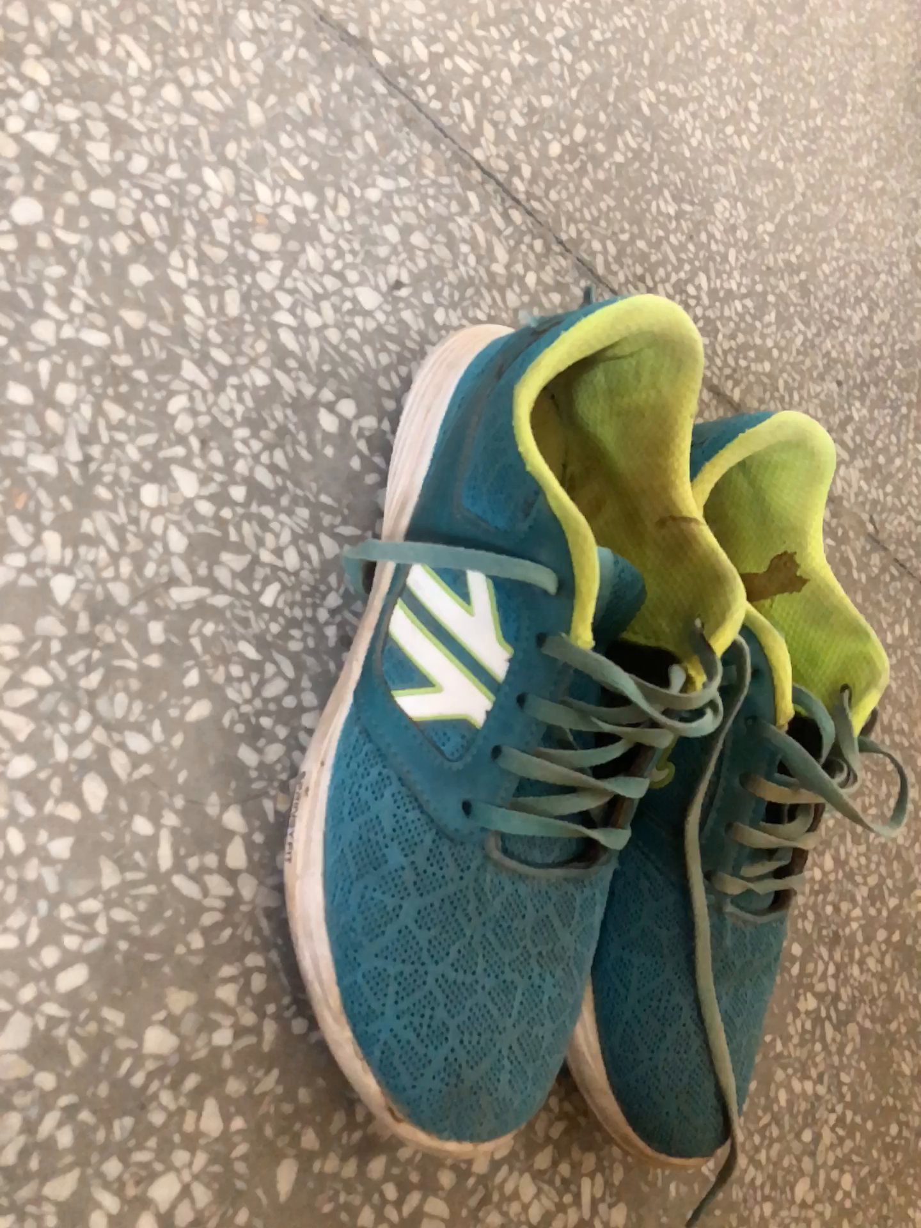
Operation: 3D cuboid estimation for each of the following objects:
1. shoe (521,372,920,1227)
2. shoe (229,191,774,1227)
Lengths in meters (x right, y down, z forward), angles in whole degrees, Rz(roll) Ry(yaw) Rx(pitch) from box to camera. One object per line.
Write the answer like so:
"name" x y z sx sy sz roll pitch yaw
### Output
"shoe" 0.091 0.056 0.333 0.095 0.088 0.229 17 70 -37
"shoe" 0.018 0.024 0.282 0.091 0.091 0.230 20 68 -36
